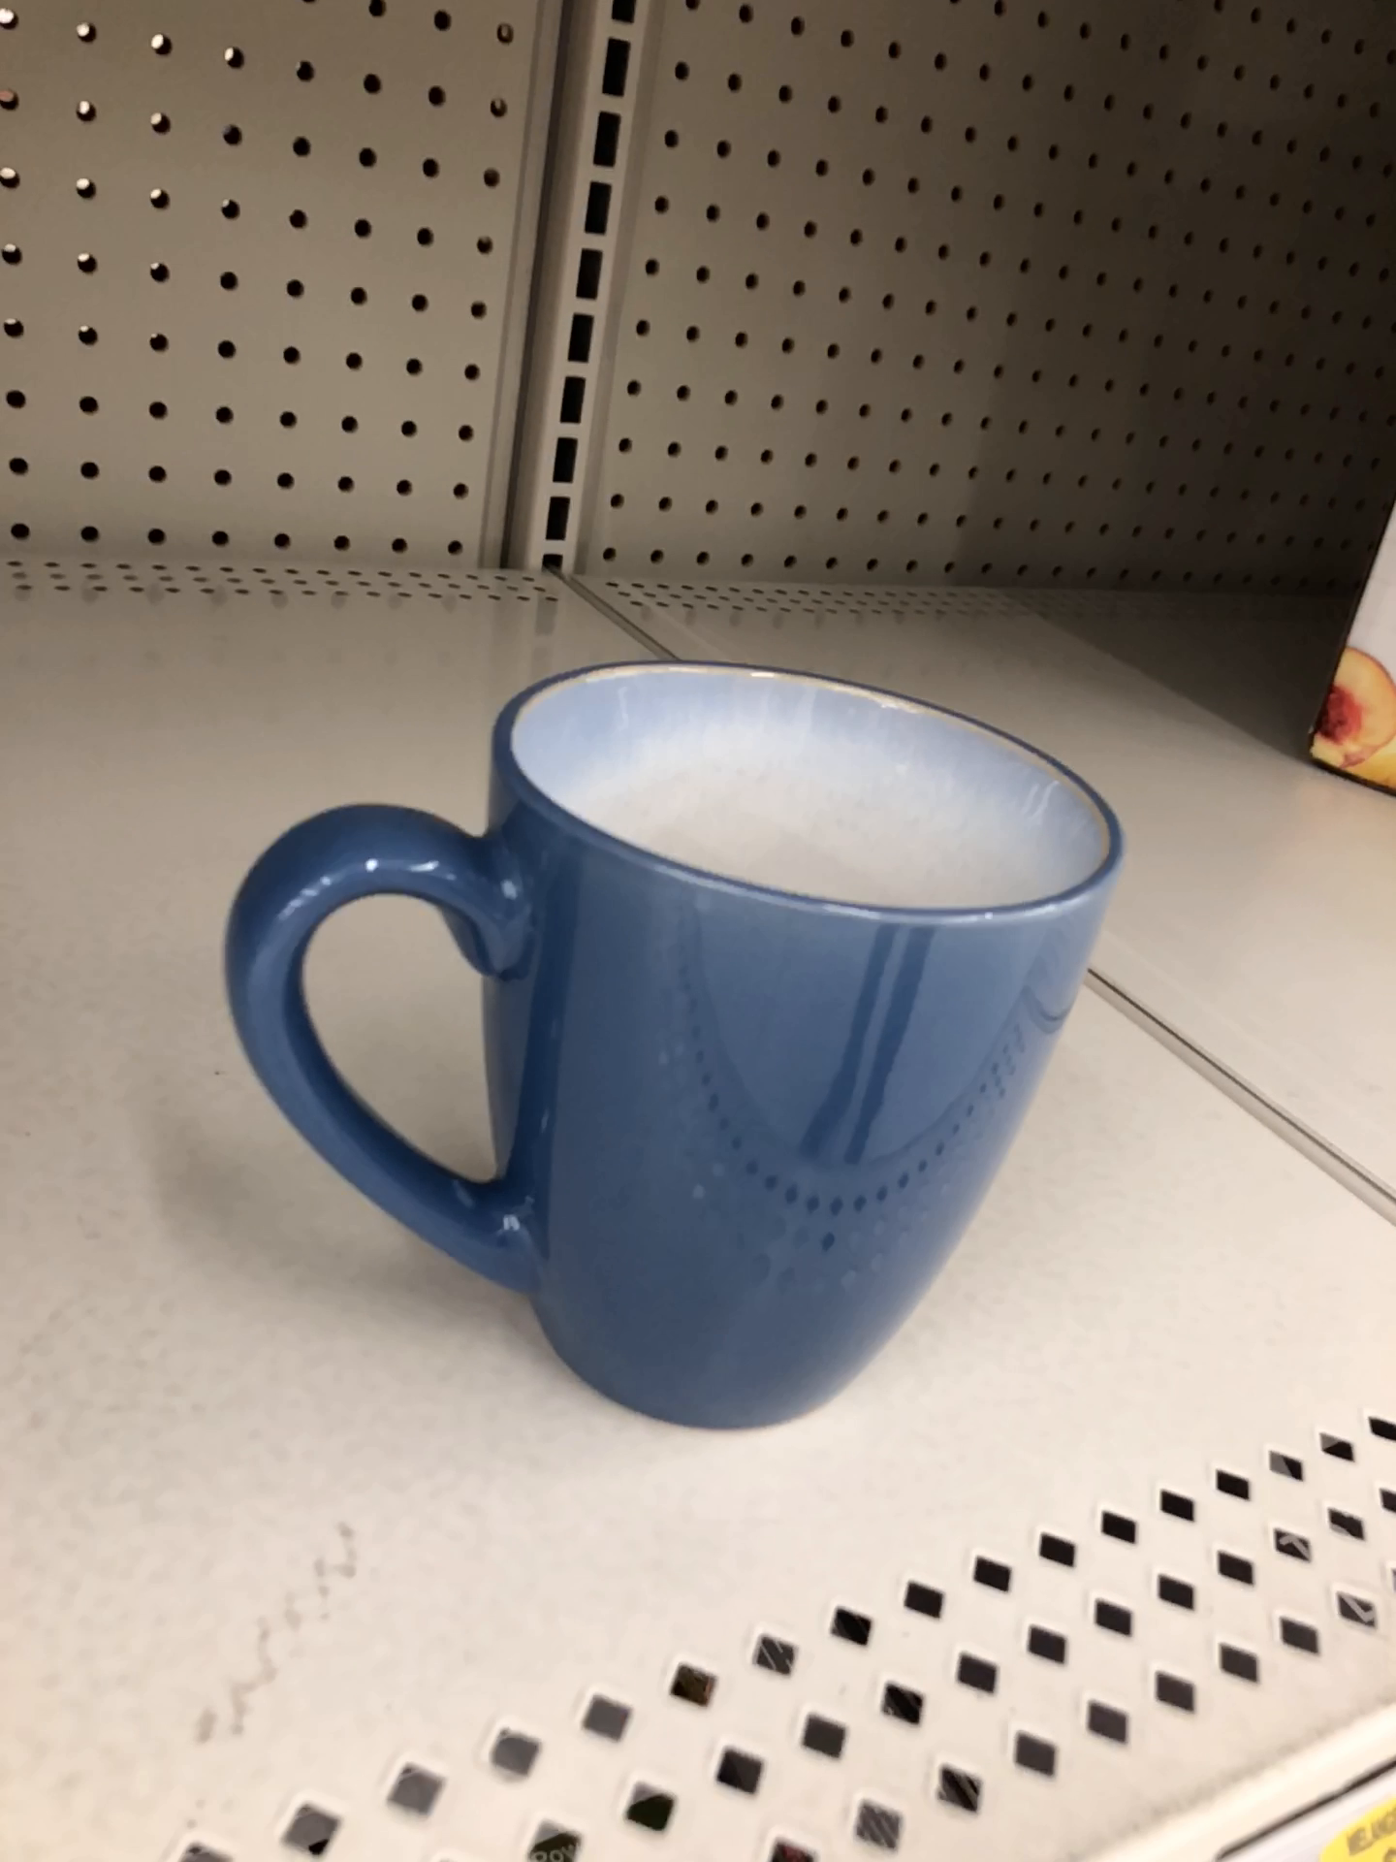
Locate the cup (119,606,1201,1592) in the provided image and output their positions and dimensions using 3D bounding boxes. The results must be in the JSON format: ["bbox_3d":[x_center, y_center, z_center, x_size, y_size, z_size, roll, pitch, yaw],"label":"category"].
[{"bbox_3d":[-0.016,0.013,0.242,0.128,0.098,0.097,-5,30,-27],"label":"cup"}]
